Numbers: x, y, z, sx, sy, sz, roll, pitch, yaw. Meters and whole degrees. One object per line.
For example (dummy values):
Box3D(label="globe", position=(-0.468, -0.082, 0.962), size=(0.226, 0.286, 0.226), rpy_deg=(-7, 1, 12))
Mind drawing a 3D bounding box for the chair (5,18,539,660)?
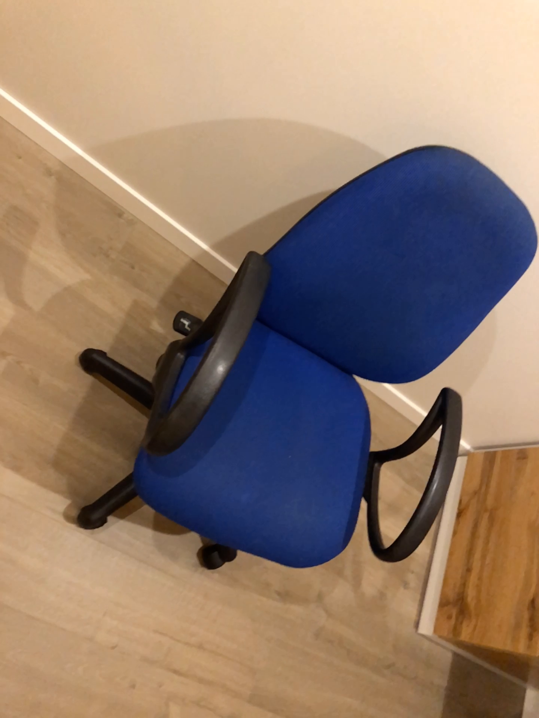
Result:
Box3D(label="chair", position=(0.055, 0.071, 1.201), size=(0.697, 0.905, 0.702), rpy_deg=(29, 63, -27))
